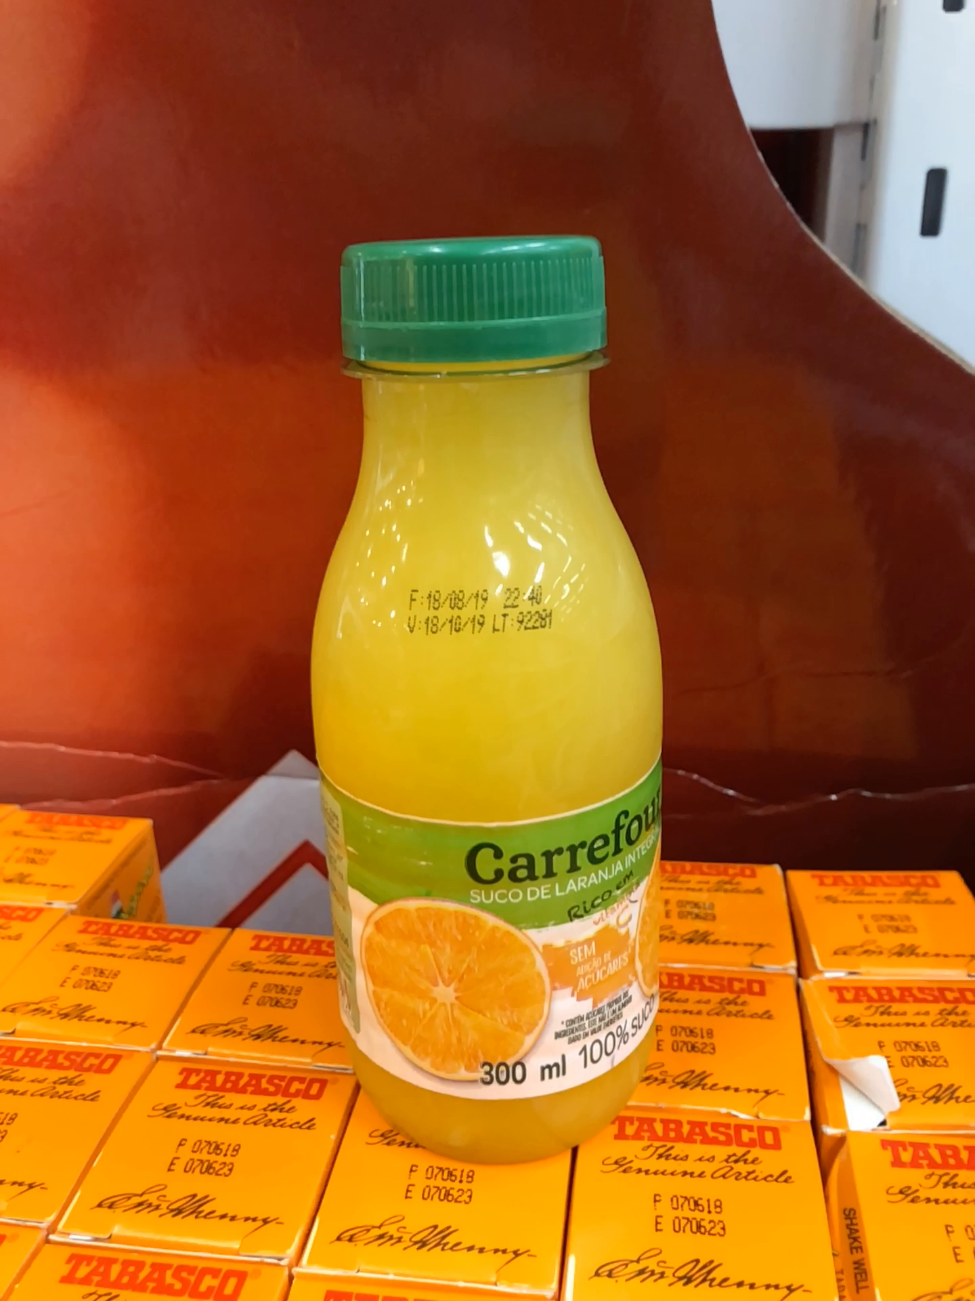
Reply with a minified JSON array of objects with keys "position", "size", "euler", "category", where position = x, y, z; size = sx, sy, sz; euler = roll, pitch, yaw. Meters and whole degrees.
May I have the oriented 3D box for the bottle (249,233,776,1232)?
[{"position":[0.005,0.010,0.186],"size":[0.060,0.149,0.050],"euler":[-13,23,-27],"category":"bottle"}]
